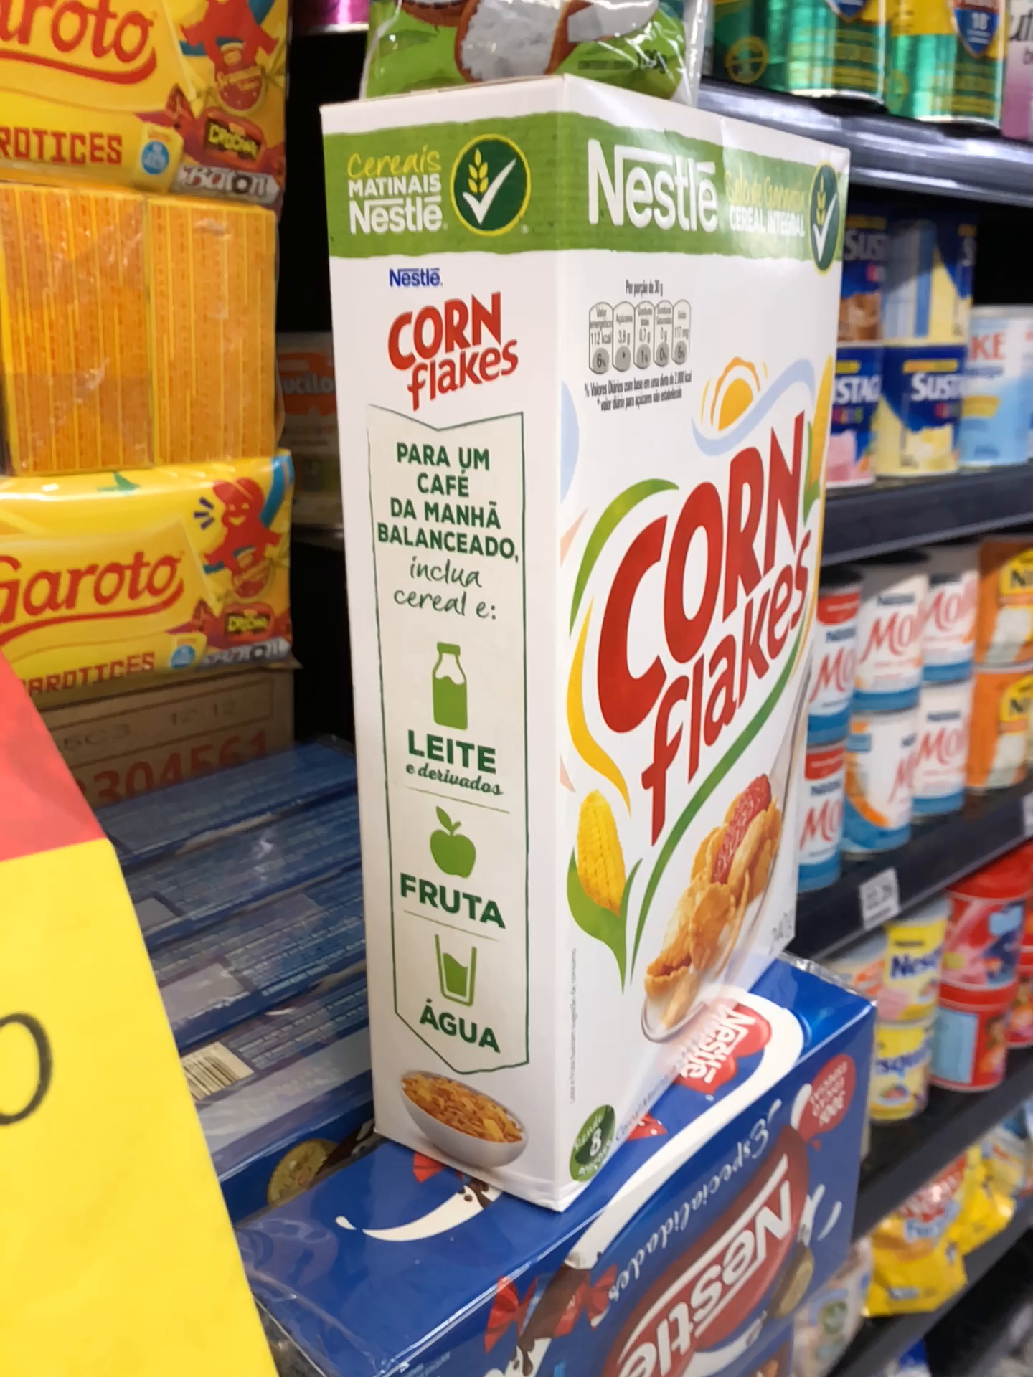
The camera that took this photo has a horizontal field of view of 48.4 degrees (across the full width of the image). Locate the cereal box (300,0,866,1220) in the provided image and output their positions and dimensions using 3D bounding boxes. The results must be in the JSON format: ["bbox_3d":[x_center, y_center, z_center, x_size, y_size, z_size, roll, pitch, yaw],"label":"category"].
[{"bbox_3d":[0.029,-0.024,0.312,0.060,0.249,0.171,11,20,31],"label":"cereal box"}]
